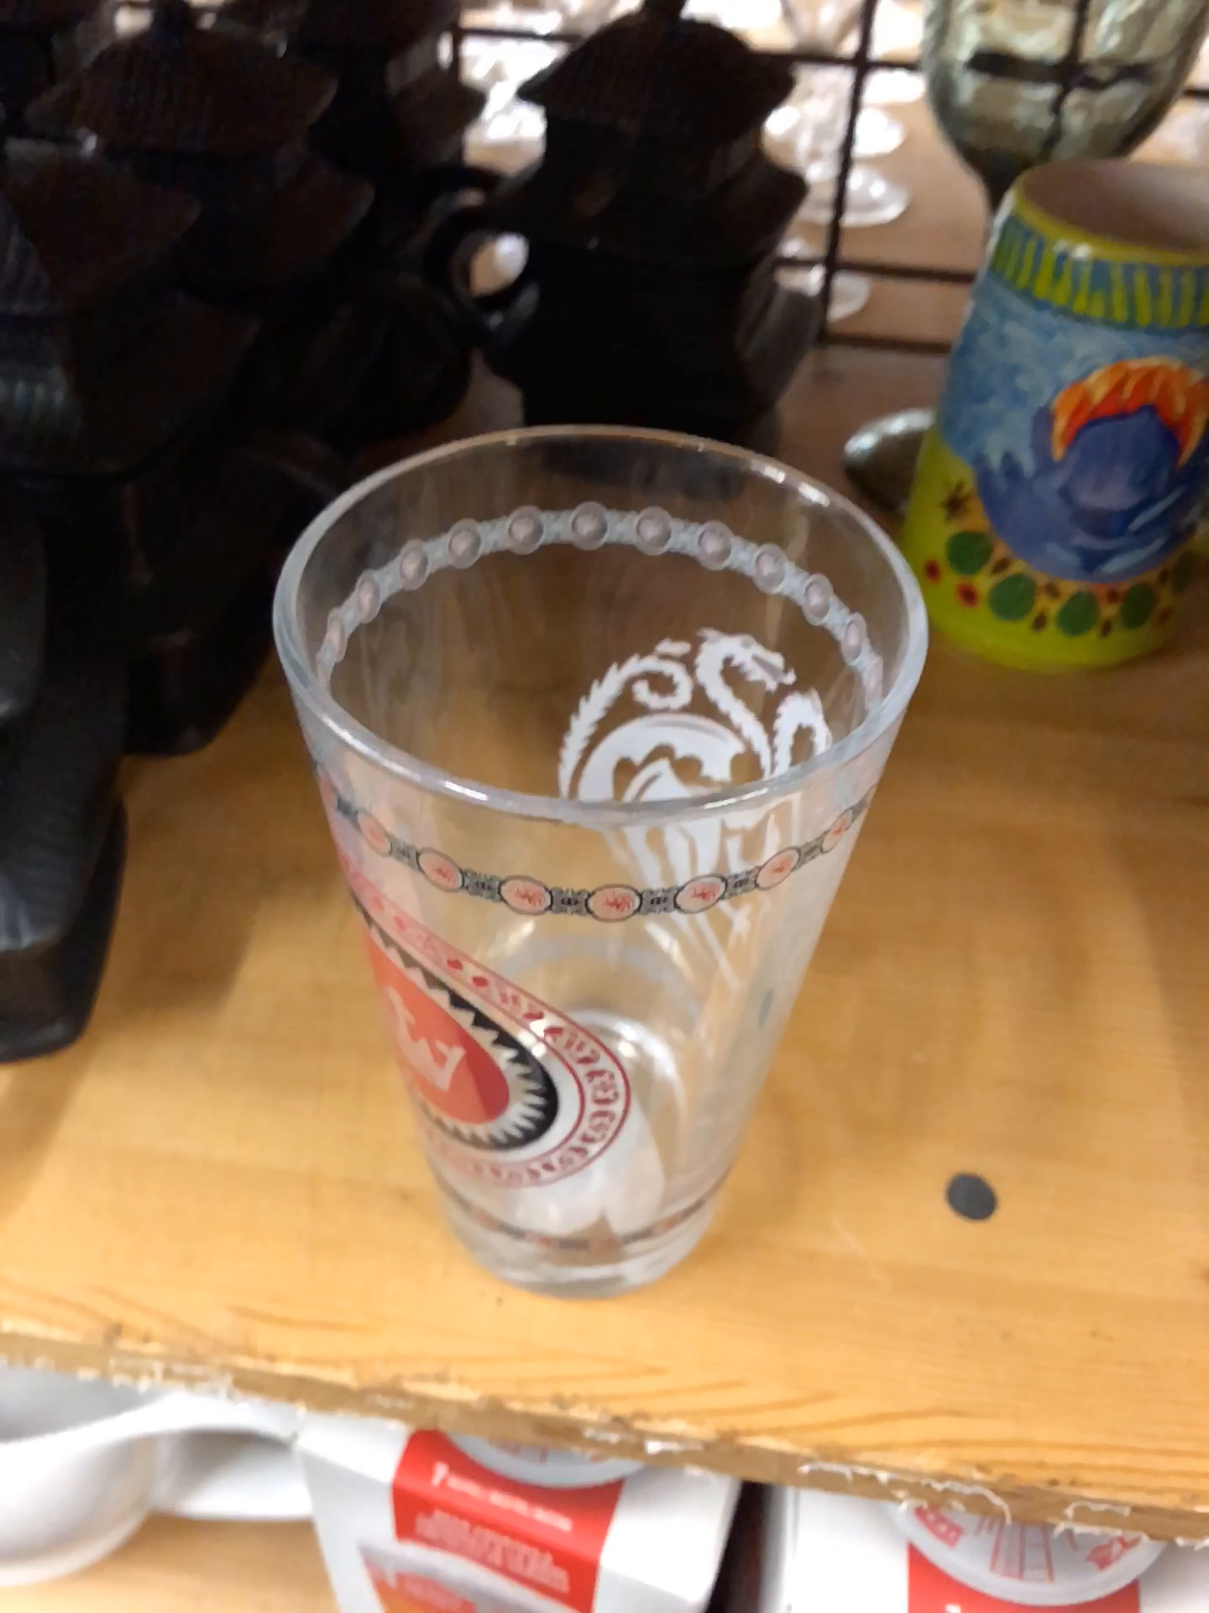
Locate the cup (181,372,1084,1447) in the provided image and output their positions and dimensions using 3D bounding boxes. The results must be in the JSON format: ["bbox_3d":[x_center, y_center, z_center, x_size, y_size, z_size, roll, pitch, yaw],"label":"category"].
[{"bbox_3d":[0.000,0.018,0.224,0.084,0.132,0.085,1,44,-1],"label":"cup"}]
